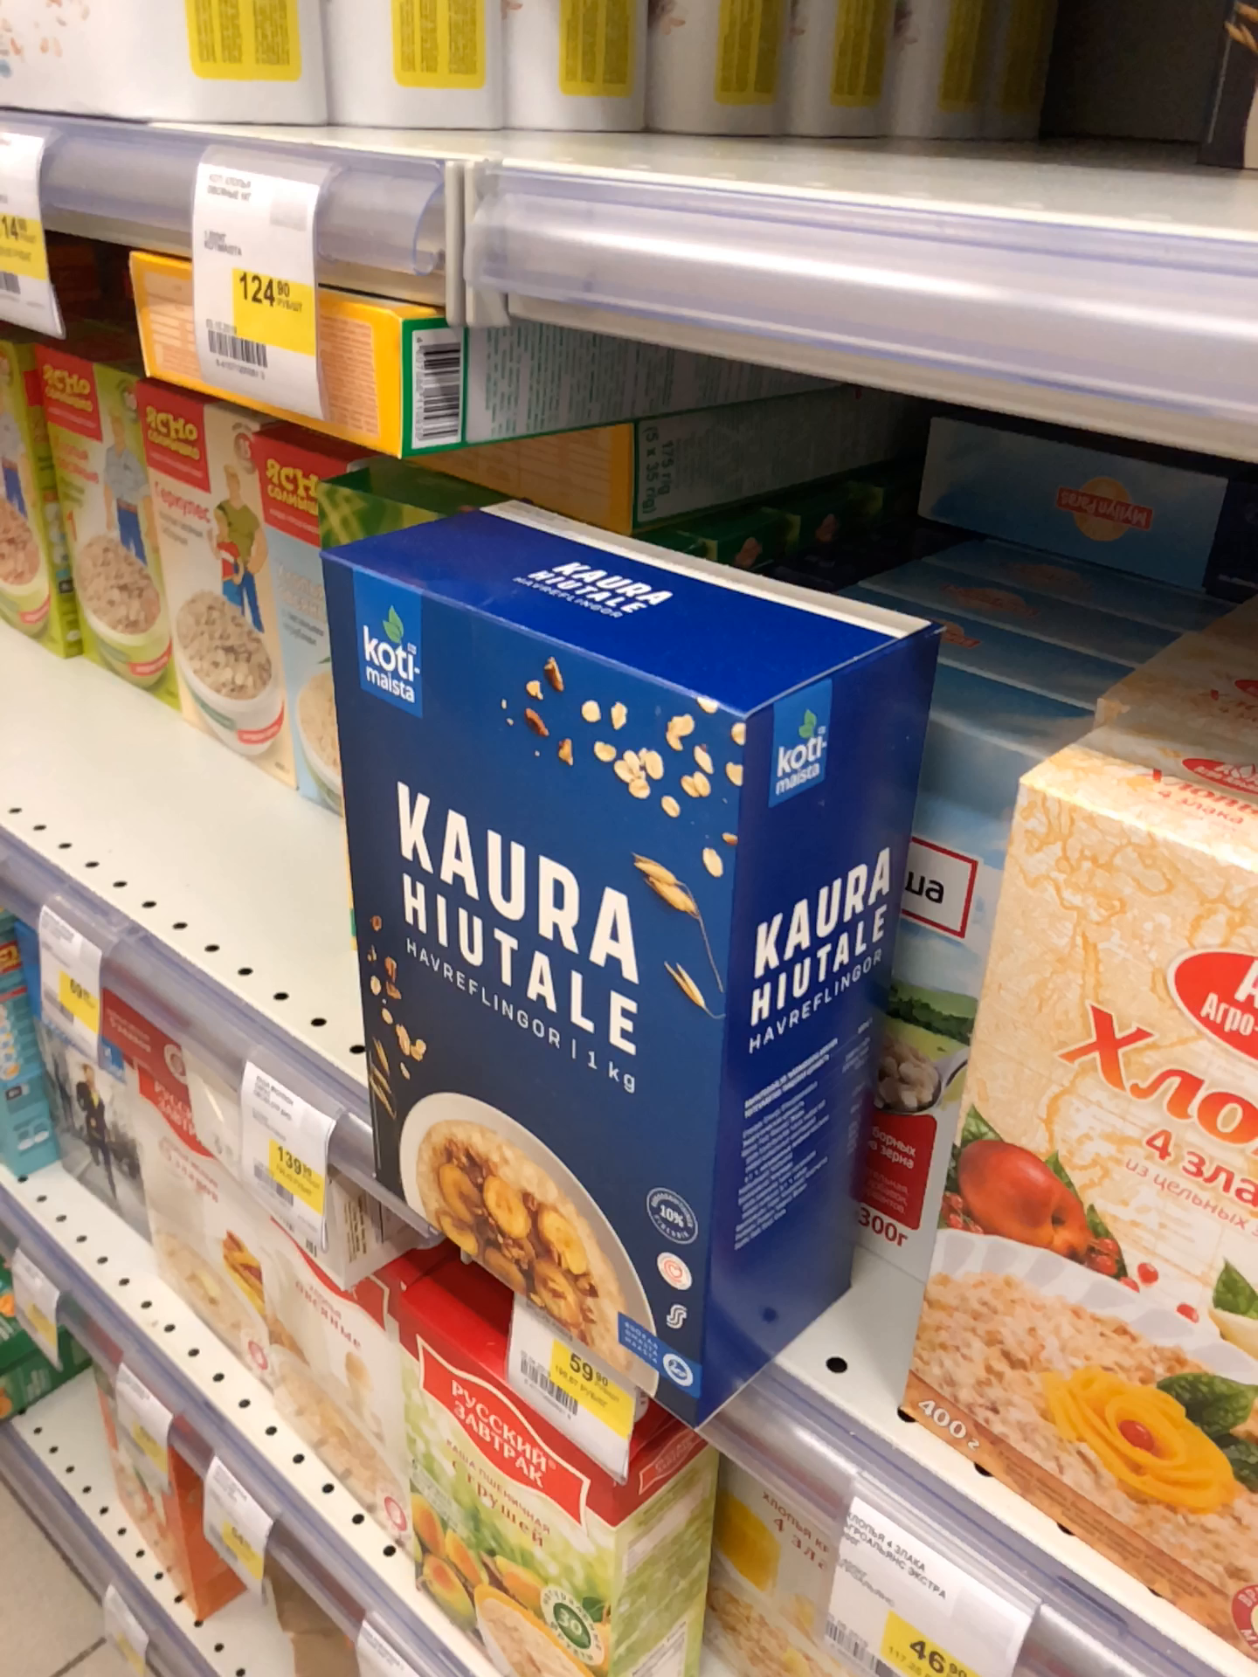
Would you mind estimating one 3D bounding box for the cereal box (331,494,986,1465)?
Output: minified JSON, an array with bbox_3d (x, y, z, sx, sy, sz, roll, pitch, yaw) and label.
[{"bbox_3d":[0.000,0.035,0.404,0.150,0.229,0.080,25,35,35],"label":"cereal box"}]
